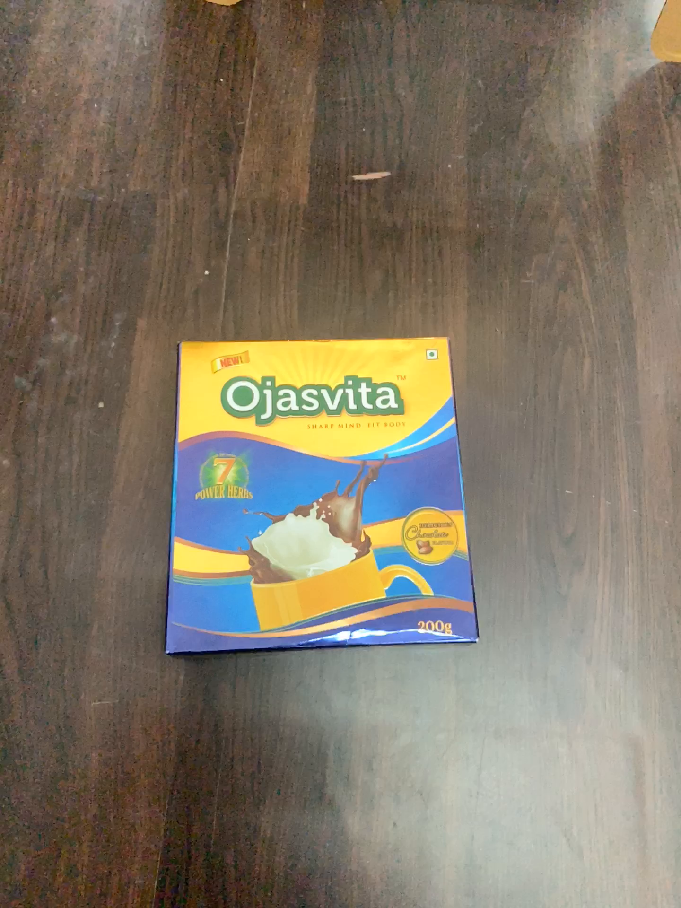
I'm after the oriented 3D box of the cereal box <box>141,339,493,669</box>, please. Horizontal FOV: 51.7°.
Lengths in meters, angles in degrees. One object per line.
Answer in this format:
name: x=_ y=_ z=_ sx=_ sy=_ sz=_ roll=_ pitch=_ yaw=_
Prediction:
cereal box: x=-0.014 y=0.022 z=0.344 sx=0.150 sy=0.040 sz=0.150 roll=-2 pitch=70 yaw=-5
